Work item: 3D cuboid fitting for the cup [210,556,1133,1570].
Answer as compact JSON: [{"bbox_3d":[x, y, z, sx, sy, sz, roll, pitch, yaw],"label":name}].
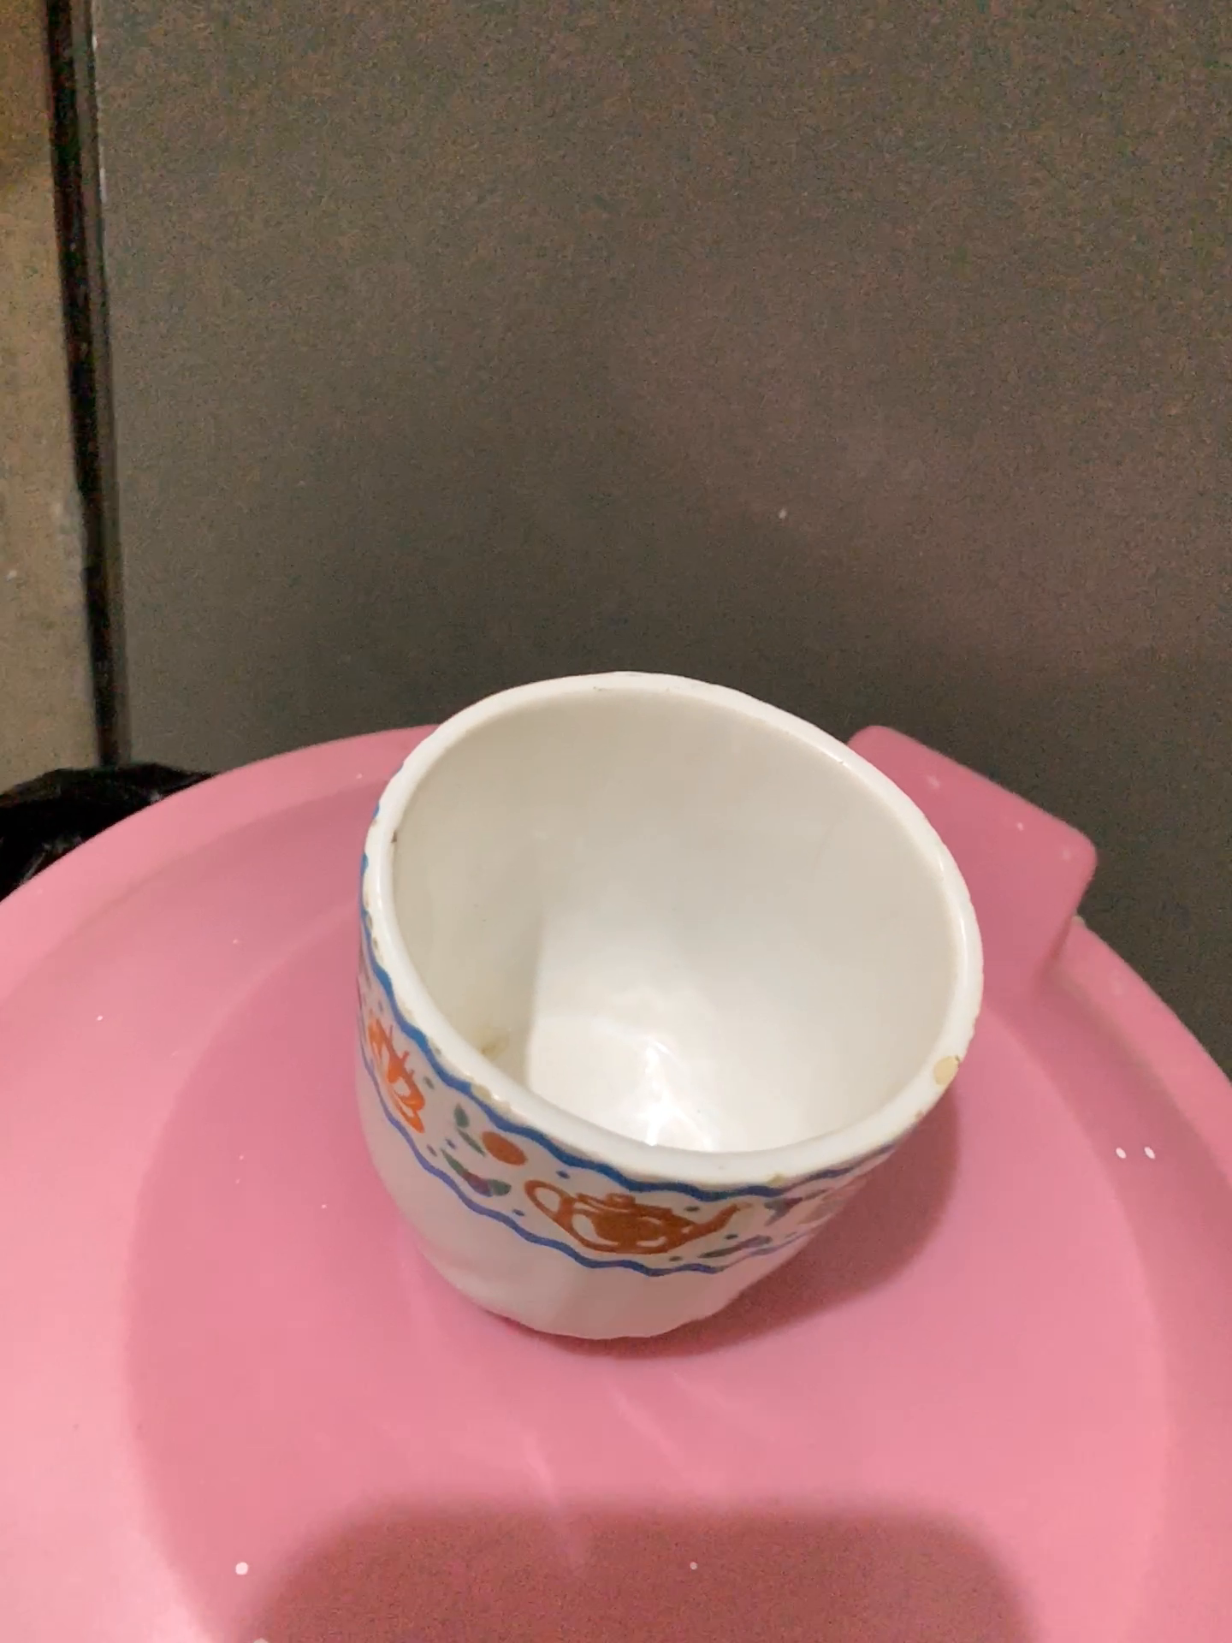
[{"bbox_3d":[0.006,0.025,0.156,0.076,0.062,0.072,9,44,-9],"label":"cup"}]
